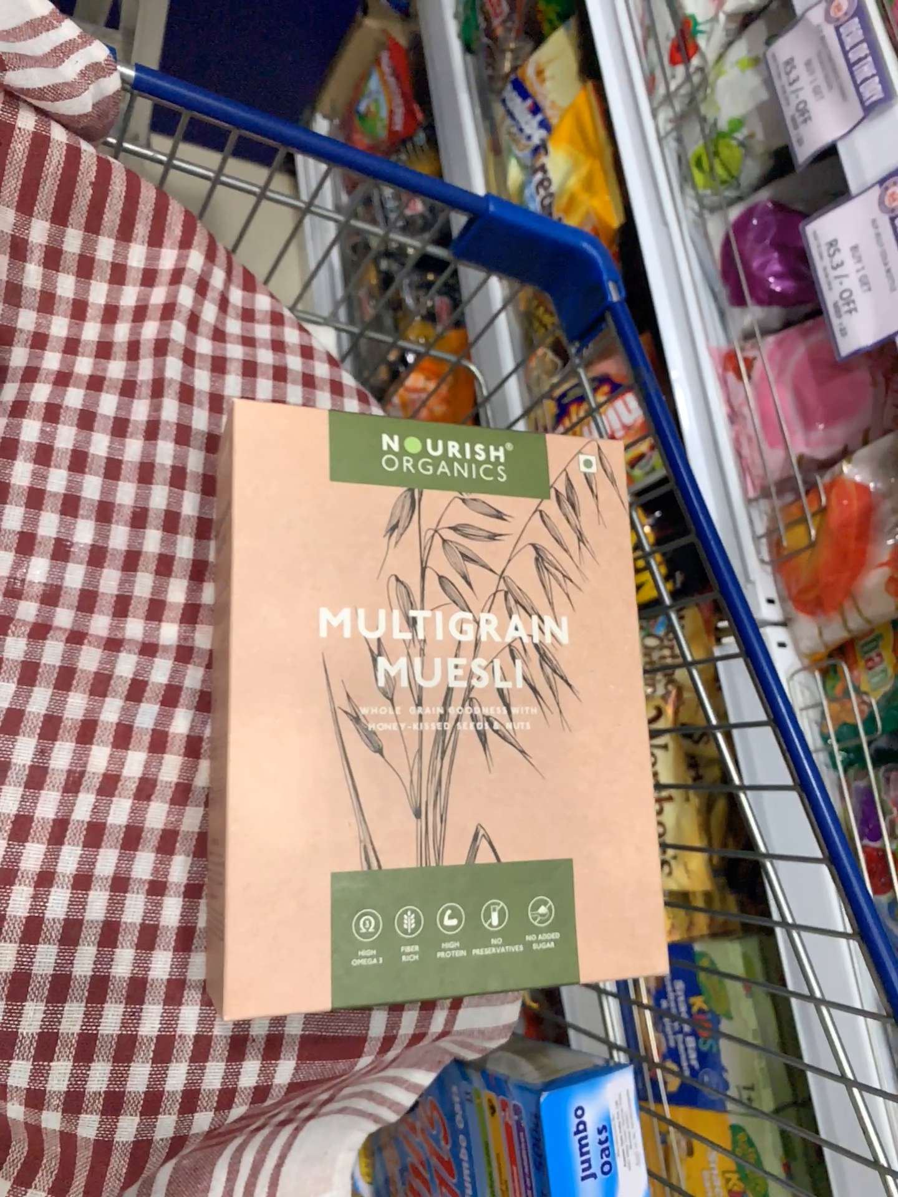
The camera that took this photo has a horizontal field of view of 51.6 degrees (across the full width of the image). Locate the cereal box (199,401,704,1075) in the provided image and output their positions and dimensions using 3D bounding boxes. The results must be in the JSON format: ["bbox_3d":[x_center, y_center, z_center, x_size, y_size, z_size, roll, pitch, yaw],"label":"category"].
[{"bbox_3d":[-0.002,0.043,0.329,0.160,0.050,0.200,3,76,-21],"label":"cereal box"}]
